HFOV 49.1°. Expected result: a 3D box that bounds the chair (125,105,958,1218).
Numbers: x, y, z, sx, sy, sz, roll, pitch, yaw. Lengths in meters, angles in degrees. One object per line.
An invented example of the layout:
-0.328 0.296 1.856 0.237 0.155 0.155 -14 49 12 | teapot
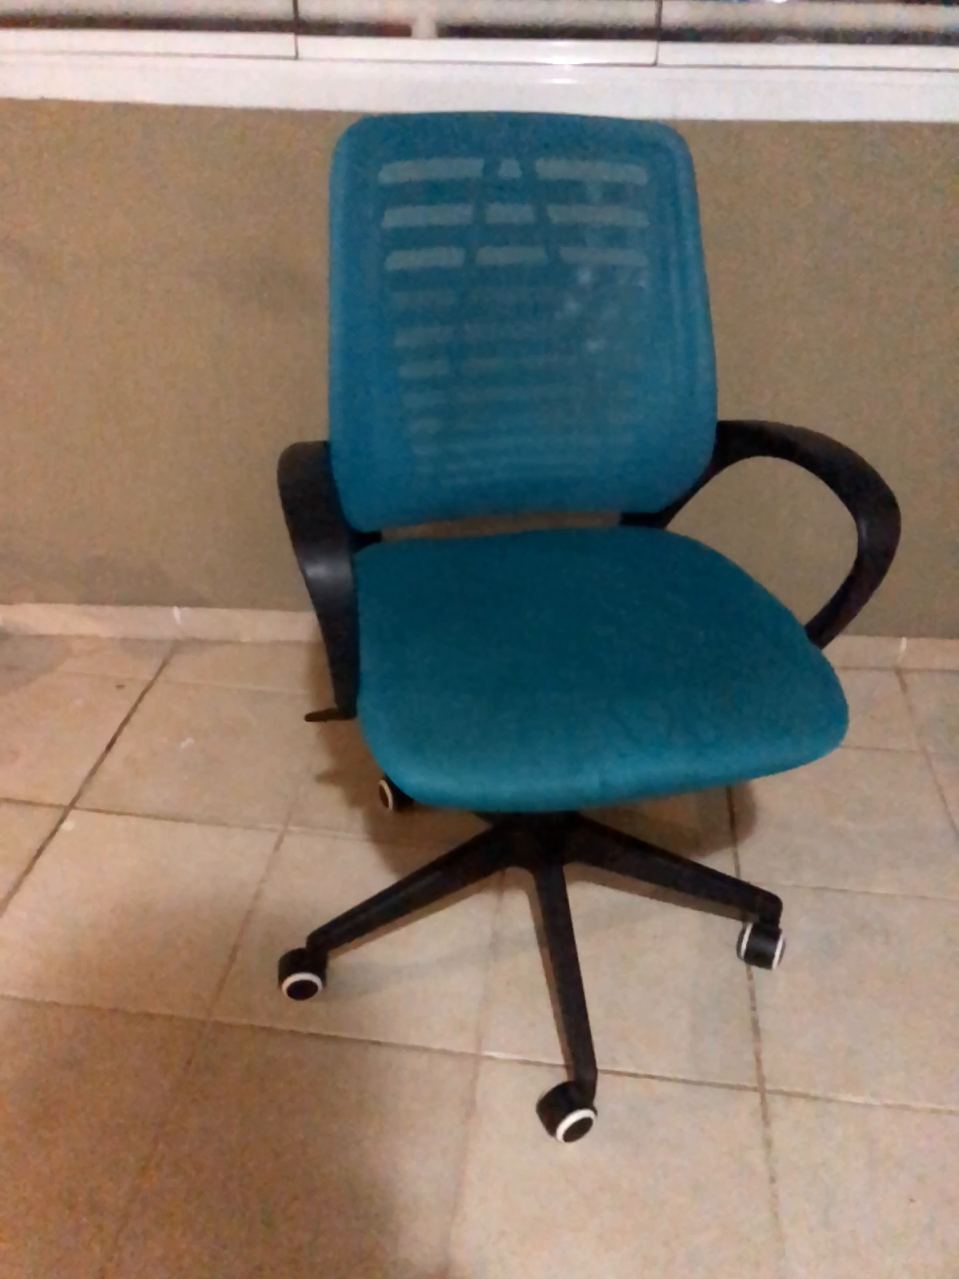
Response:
0.079 -0.037 1.186 0.710 0.922 0.746 -6 34 -10 | chair
